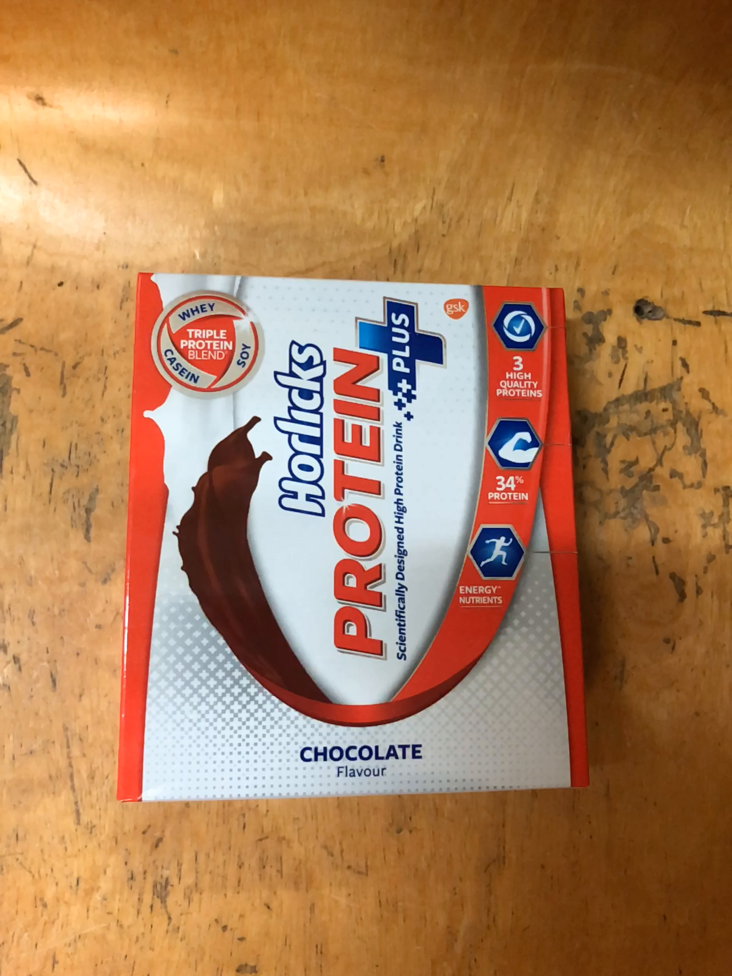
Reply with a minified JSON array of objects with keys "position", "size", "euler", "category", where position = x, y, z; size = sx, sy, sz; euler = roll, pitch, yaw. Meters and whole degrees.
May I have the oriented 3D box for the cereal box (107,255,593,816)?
[{"position":[-0.005,0.014,0.268],"size":[0.140,0.050,0.160],"euler":[1,83,-9],"category":"cereal box"}]
